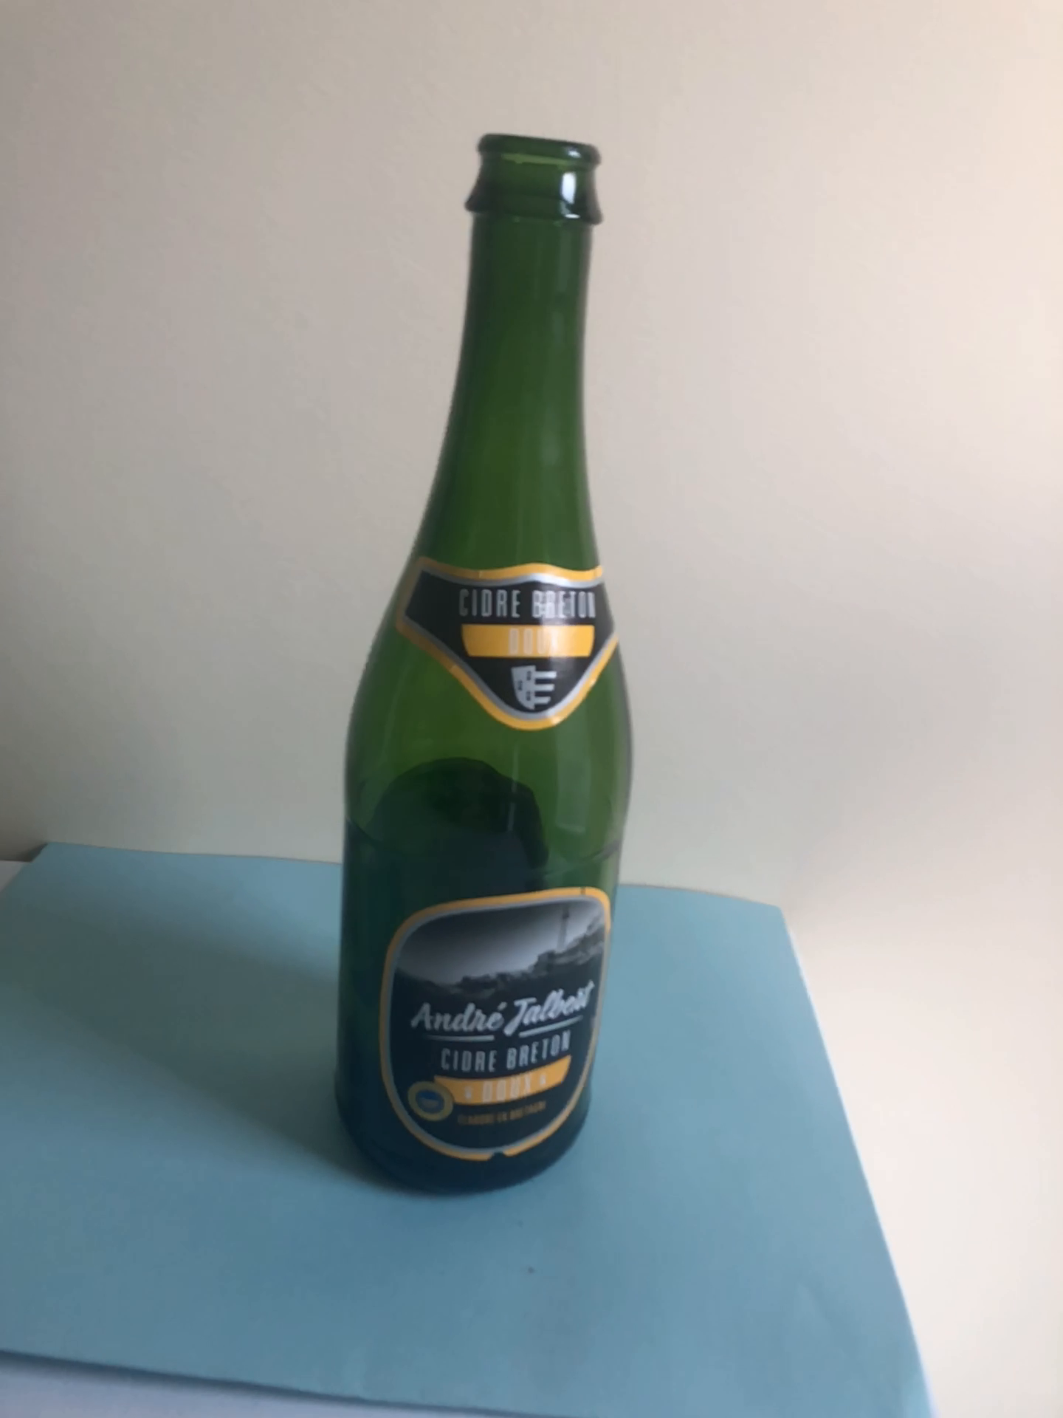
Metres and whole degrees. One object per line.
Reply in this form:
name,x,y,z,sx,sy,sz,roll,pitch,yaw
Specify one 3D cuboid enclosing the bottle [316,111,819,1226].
bottle,-0.007,-0.001,0.316,0.090,0.278,0.080,-2,25,-16
